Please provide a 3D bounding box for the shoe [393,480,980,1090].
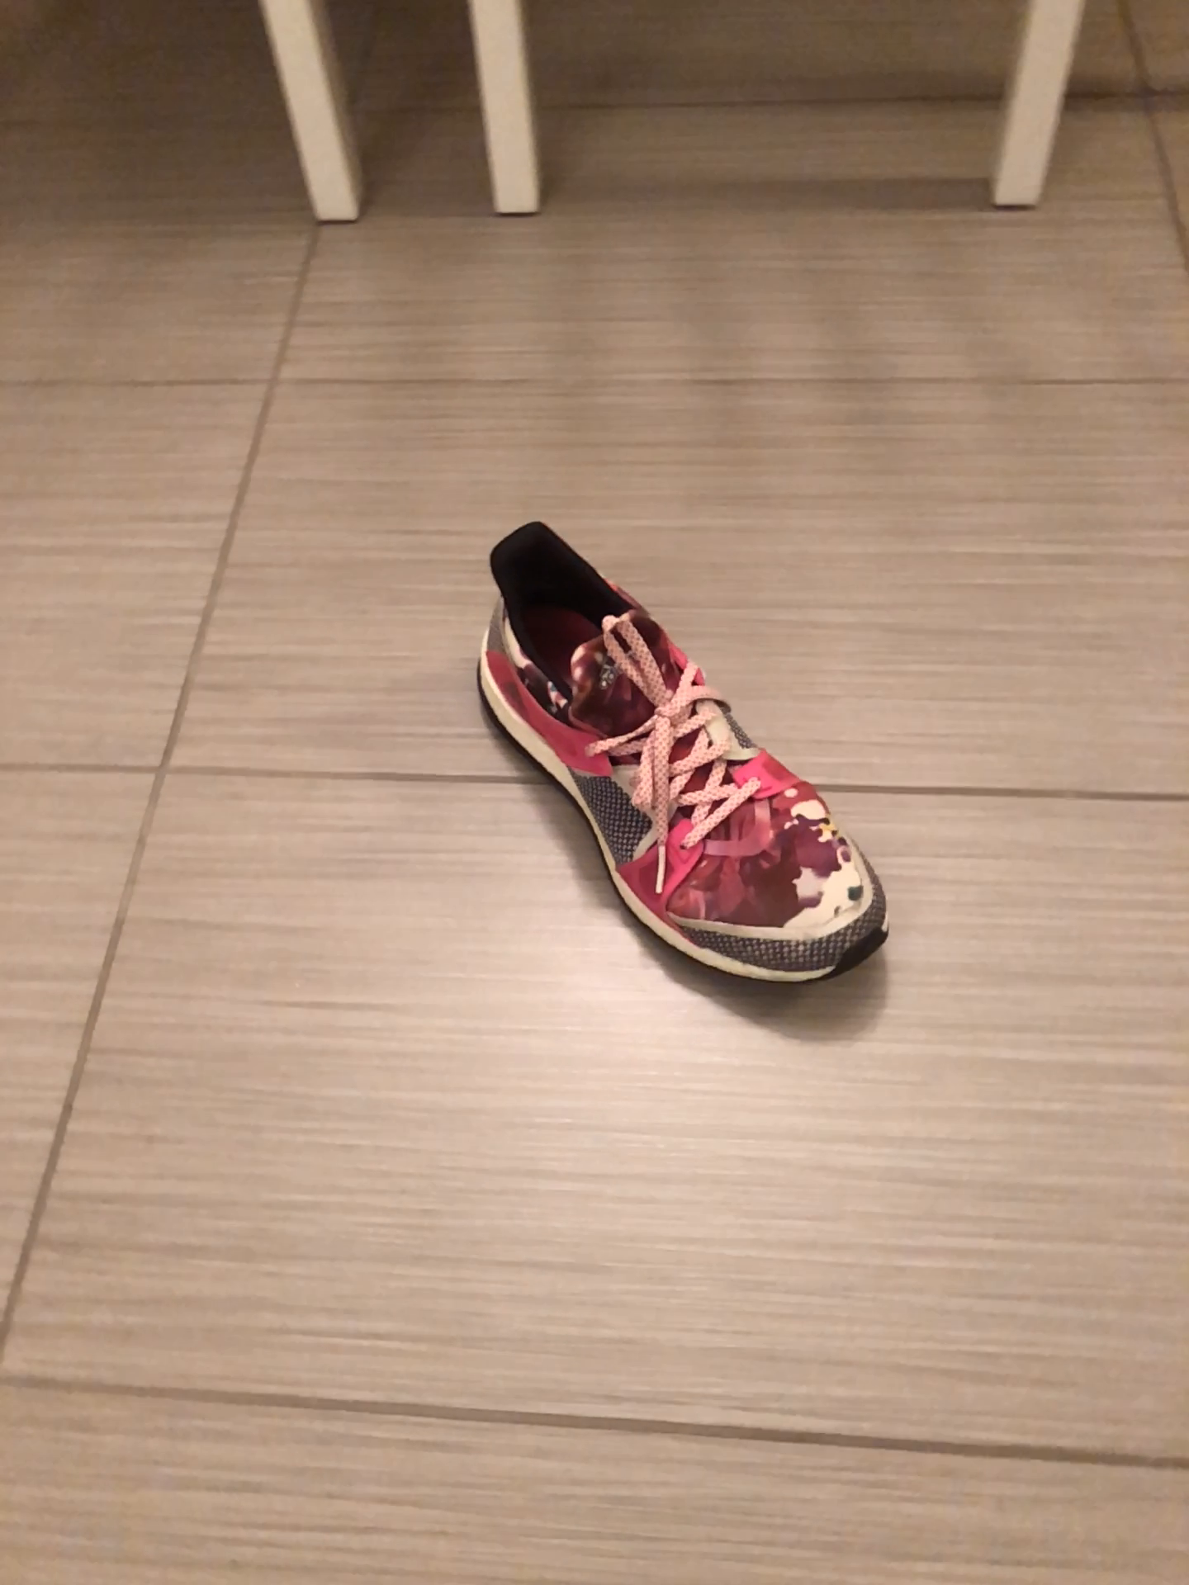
[{"bbox_3d":[0.033,-0.013,0.621,0.110,0.090,0.281,-34,61,-15],"label":"shoe"}]
